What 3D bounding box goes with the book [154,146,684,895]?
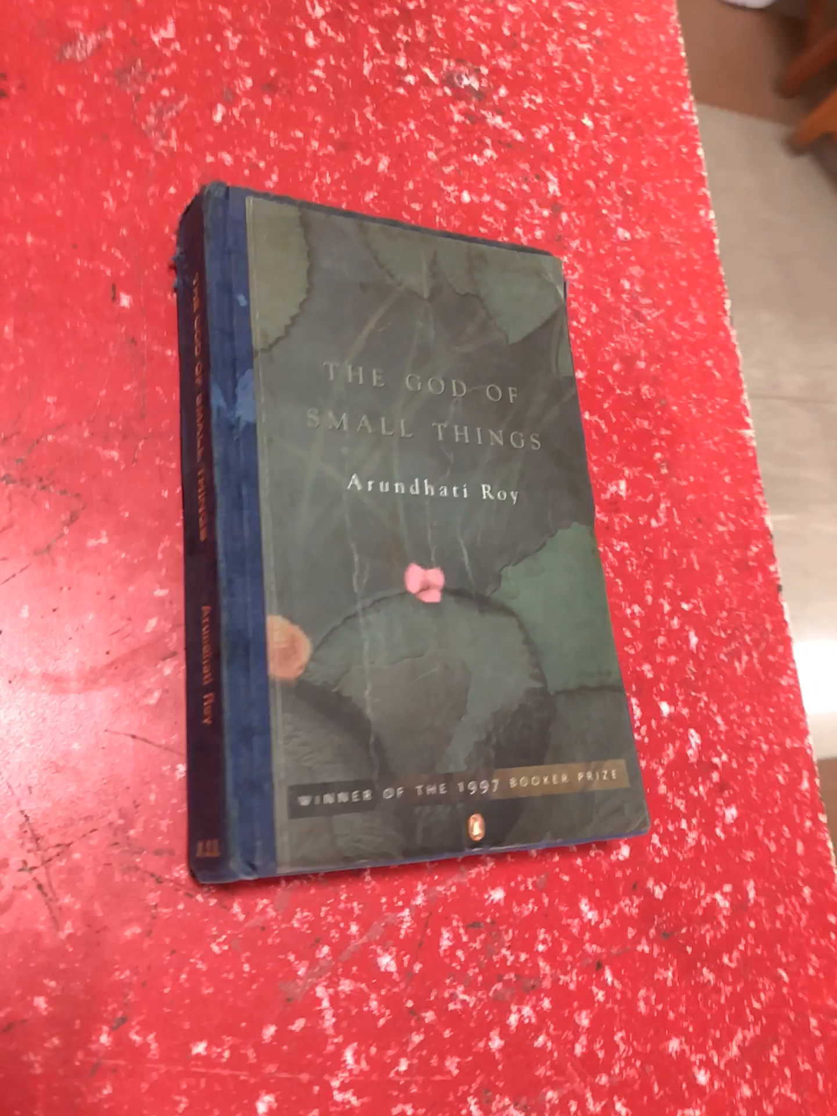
[{"bbox_3d":[-0.005,-0.015,0.307,0.150,0.040,0.220,2,72,-25],"label":"book"}]
